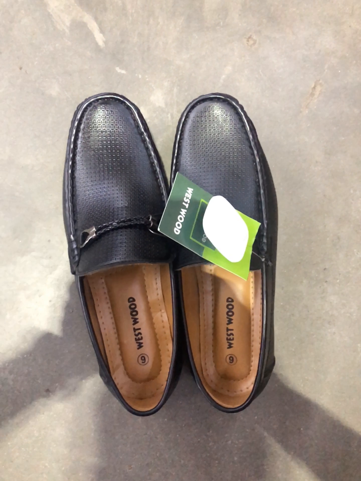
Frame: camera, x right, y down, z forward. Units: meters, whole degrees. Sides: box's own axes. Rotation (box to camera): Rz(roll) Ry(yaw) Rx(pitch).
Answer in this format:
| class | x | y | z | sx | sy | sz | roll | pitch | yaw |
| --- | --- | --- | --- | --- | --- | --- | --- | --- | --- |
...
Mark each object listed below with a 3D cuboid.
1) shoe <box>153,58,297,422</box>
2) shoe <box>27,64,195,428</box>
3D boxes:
| class | x | y | z | sx | sy | sz | roll | pitch | yaw |
| --- | --- | --- | --- | --- | --- | --- | --- | --- | --- |
| shoe | 0.037 | 0.000 | 0.348 | 0.090 | 0.070 | 0.280 | -5 | 88 | 7 |
| shoe | -0.058 | 0.002 | 0.354 | 0.100 | 0.070 | 0.280 | -7 | 88 | -5 |
